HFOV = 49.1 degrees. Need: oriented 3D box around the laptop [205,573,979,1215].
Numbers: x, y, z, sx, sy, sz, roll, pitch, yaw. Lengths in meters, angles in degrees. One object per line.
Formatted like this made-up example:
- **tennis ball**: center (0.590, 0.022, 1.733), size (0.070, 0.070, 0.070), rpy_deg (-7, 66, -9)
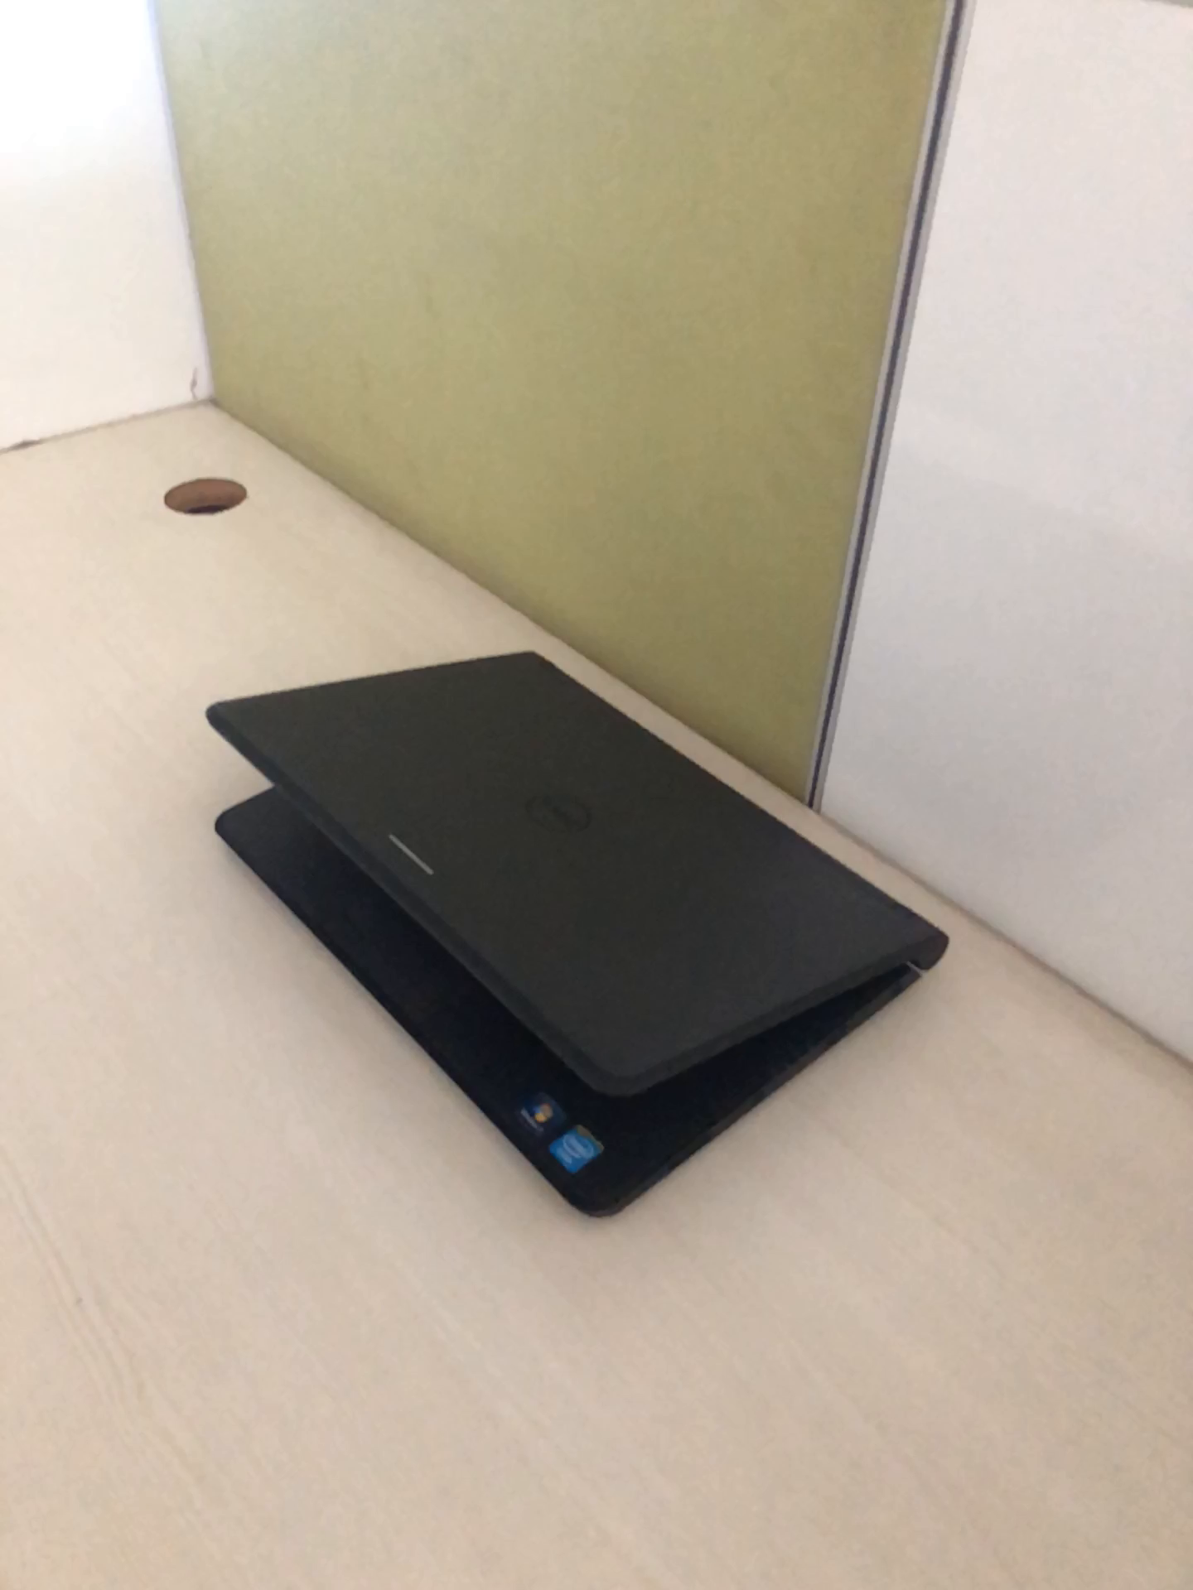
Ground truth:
- **laptop**: center (-0.014, 0.018, 0.667), size (0.229, 0.072, 0.323), rpy_deg (-28, 48, -31)
